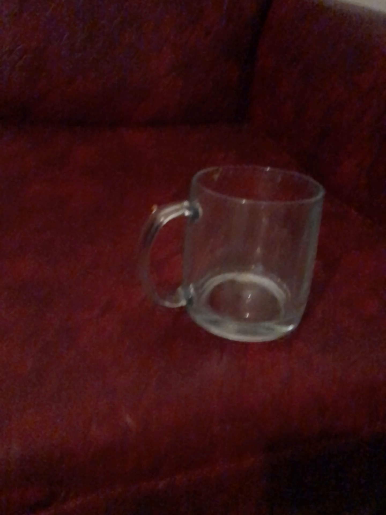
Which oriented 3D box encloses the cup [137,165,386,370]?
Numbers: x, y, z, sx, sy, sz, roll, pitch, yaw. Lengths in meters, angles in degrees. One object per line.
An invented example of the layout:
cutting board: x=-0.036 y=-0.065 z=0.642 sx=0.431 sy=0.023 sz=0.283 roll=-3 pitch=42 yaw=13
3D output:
cup: x=0.037 y=-0.003 z=0.280 sx=0.128 sy=0.089 sz=0.090 roll=-7 pitch=28 yaw=-21
